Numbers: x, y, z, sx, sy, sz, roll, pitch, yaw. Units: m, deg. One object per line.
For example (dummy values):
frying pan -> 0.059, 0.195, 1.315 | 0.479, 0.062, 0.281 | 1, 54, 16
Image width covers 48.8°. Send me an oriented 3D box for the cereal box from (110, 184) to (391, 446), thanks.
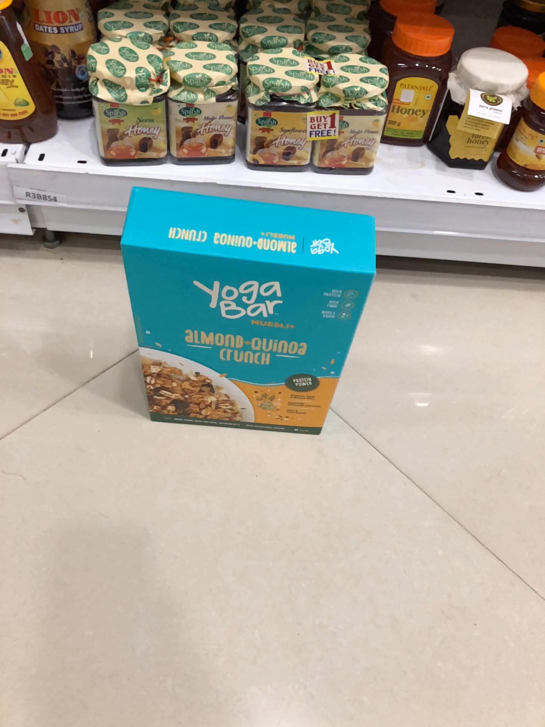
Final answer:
cereal box -> -0.021, -0.021, 0.474 | 0.170, 0.229, 0.060 | 5, 55, -3
